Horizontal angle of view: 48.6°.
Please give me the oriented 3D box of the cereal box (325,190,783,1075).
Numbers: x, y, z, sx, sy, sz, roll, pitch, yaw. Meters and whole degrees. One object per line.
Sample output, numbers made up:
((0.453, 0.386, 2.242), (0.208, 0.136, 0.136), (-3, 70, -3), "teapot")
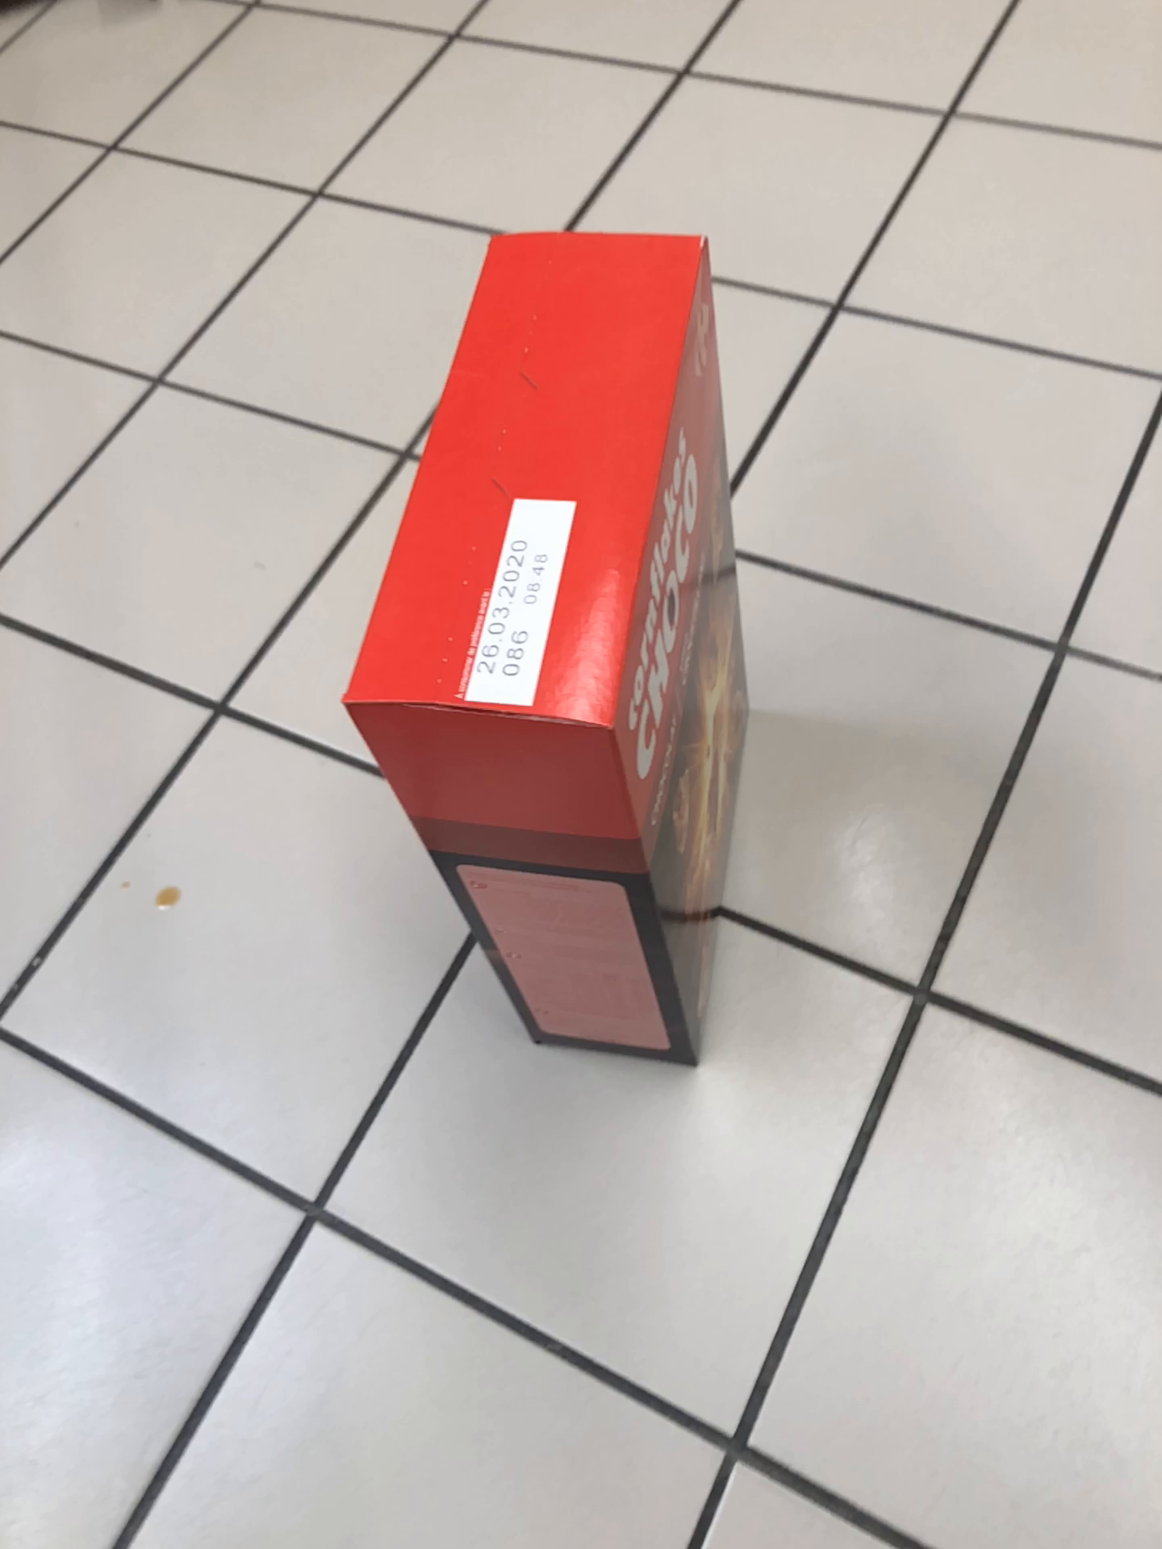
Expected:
((0.018, -0.032, 0.487), (0.090, 0.279, 0.201), (5, 61, 13), "cereal box")
